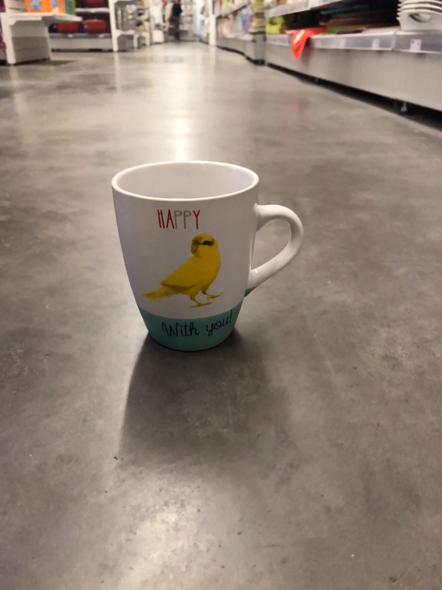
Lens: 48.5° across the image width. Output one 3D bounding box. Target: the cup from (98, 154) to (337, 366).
[{"bbox_3d":[-0.006,-0.029,0.332,0.129,0.107,0.098,-3,27,-6],"label":"cup"}]
